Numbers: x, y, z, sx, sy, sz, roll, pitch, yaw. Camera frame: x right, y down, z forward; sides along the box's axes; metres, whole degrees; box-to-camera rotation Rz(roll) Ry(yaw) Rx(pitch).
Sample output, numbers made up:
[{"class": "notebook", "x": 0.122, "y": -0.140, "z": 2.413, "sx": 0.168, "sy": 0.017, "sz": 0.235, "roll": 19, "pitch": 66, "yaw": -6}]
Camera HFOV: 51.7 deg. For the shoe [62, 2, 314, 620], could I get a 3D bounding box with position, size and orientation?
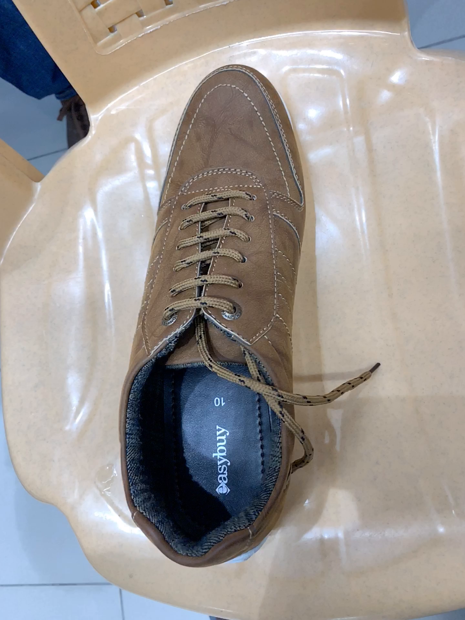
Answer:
[{"class": "shoe", "x": -0.008, "y": -0.010, "z": 0.291, "sx": 0.100, "sy": 0.100, "sz": 0.310, "roll": -3, "pitch": 73, "yaw": 17}]
